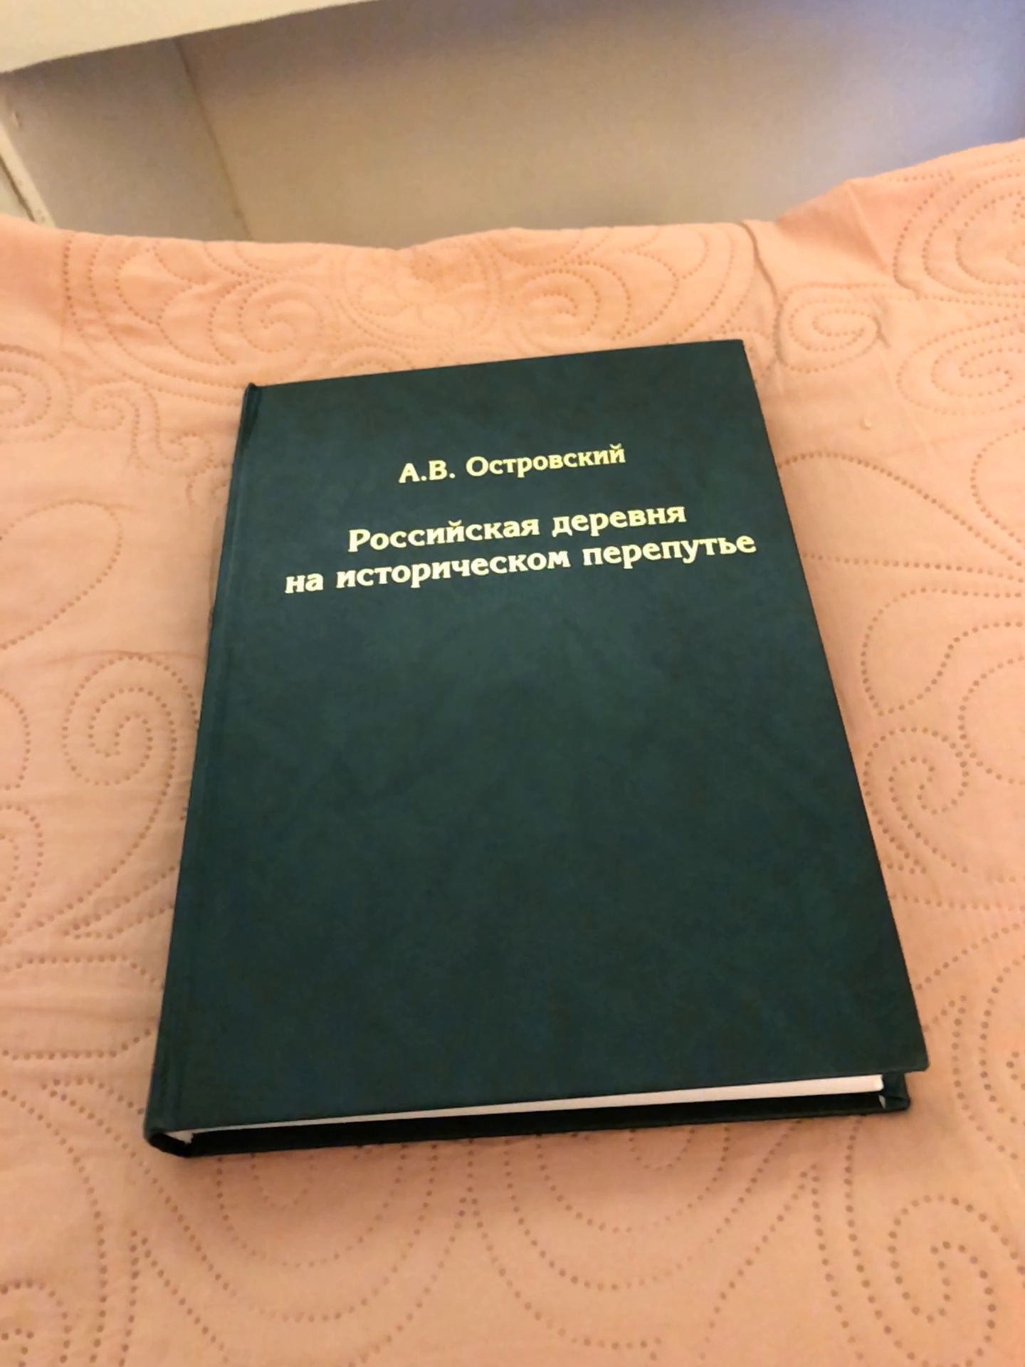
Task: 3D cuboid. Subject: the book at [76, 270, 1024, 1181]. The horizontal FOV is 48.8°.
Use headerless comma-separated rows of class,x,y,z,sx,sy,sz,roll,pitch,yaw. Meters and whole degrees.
book,0.003,-0.009,0.297,0.180,0.040,0.241,-5,54,3
